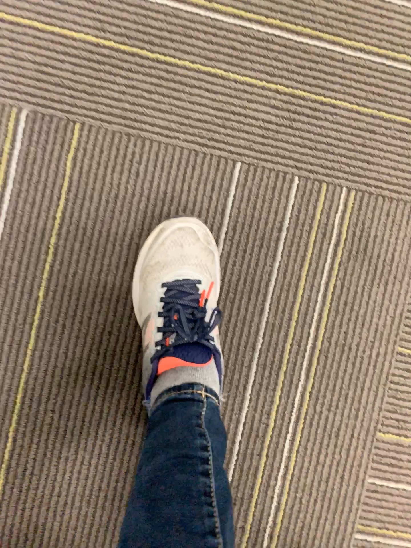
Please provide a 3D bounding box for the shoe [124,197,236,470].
[{"bbox_3d":[-0.028,0.058,0.463,0.110,0.090,0.270,0,92,-4],"label":"shoe"}]
